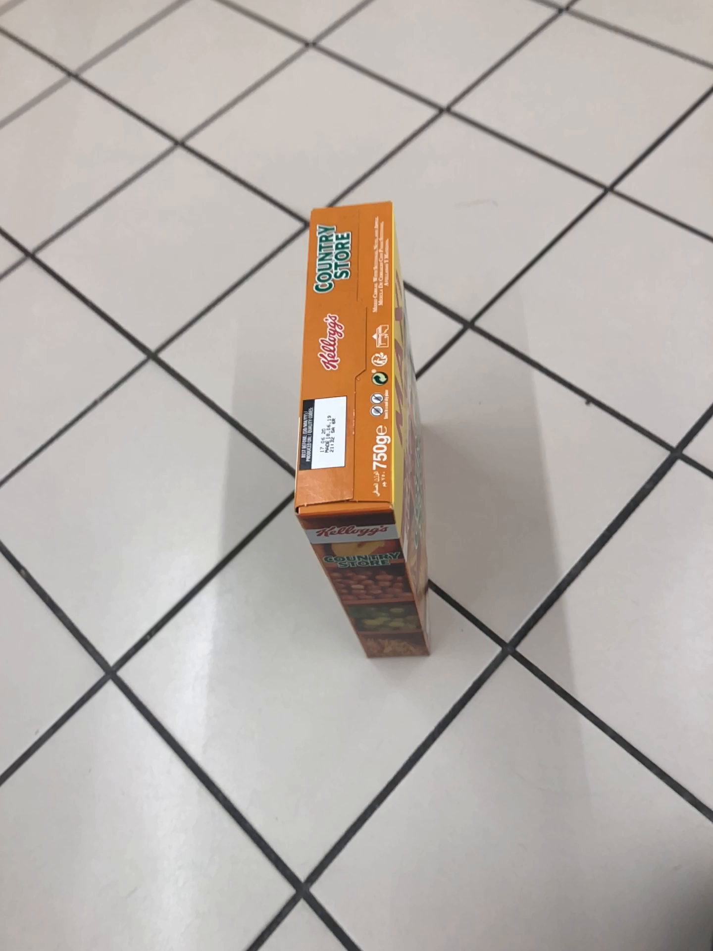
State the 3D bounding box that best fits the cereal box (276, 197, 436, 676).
[{"bbox_3d":[0.009,-0.007,0.493,0.060,0.239,0.201,-4,61,6],"label":"cereal box"}]
